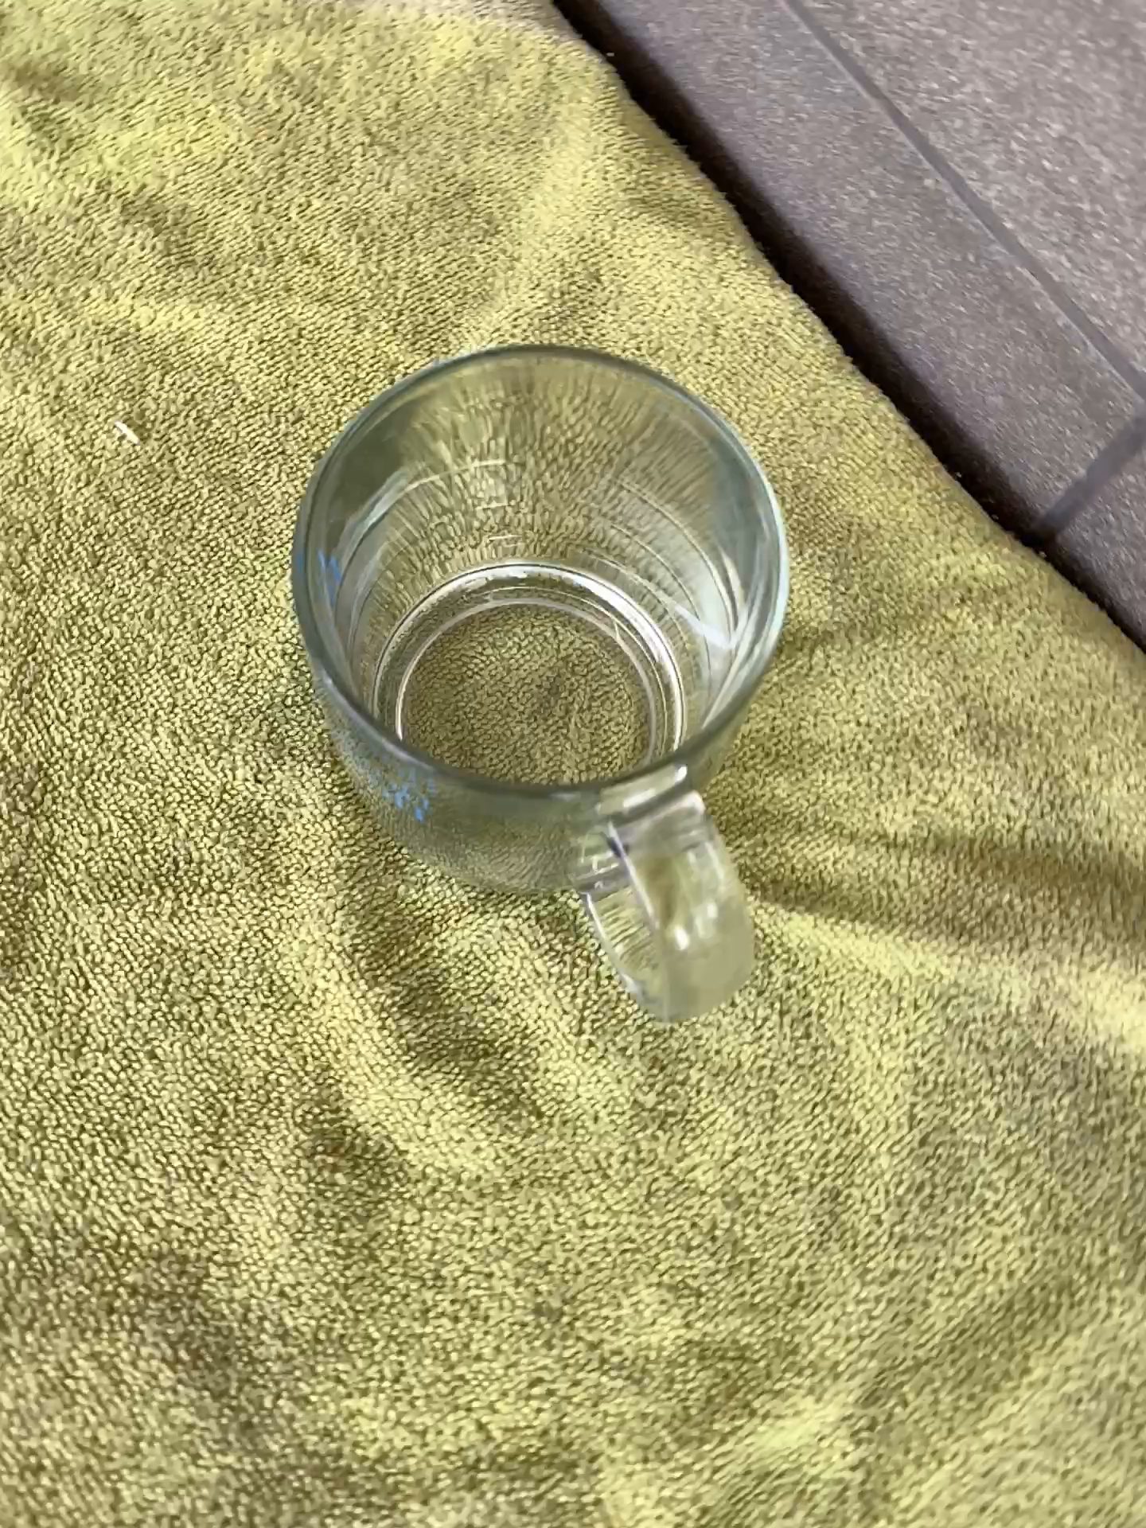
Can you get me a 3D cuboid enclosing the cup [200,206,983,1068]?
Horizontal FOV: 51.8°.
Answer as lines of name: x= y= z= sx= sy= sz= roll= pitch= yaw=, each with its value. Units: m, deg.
cup: x=-0.003 y=-0.016 z=0.234 sx=0.080 sy=0.100 sz=0.120 roll=-24 pitch=76 yaw=-11
